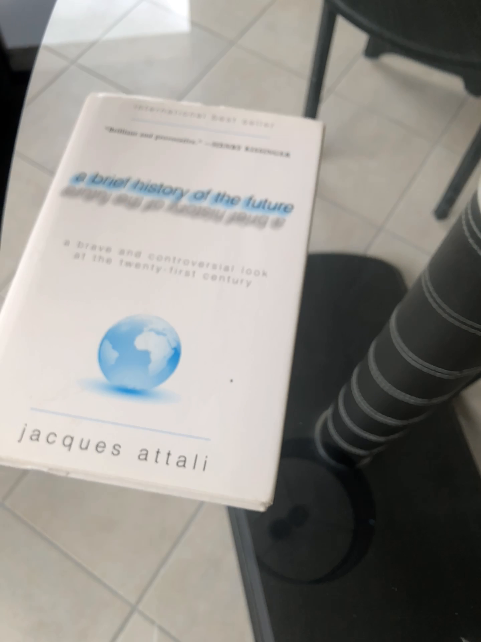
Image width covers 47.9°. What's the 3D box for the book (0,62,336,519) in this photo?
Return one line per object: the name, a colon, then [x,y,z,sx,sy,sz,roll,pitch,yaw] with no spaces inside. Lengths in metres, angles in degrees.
book: [-0.043,-0.027,0.271,0.150,0.040,0.211,10,66,3]
